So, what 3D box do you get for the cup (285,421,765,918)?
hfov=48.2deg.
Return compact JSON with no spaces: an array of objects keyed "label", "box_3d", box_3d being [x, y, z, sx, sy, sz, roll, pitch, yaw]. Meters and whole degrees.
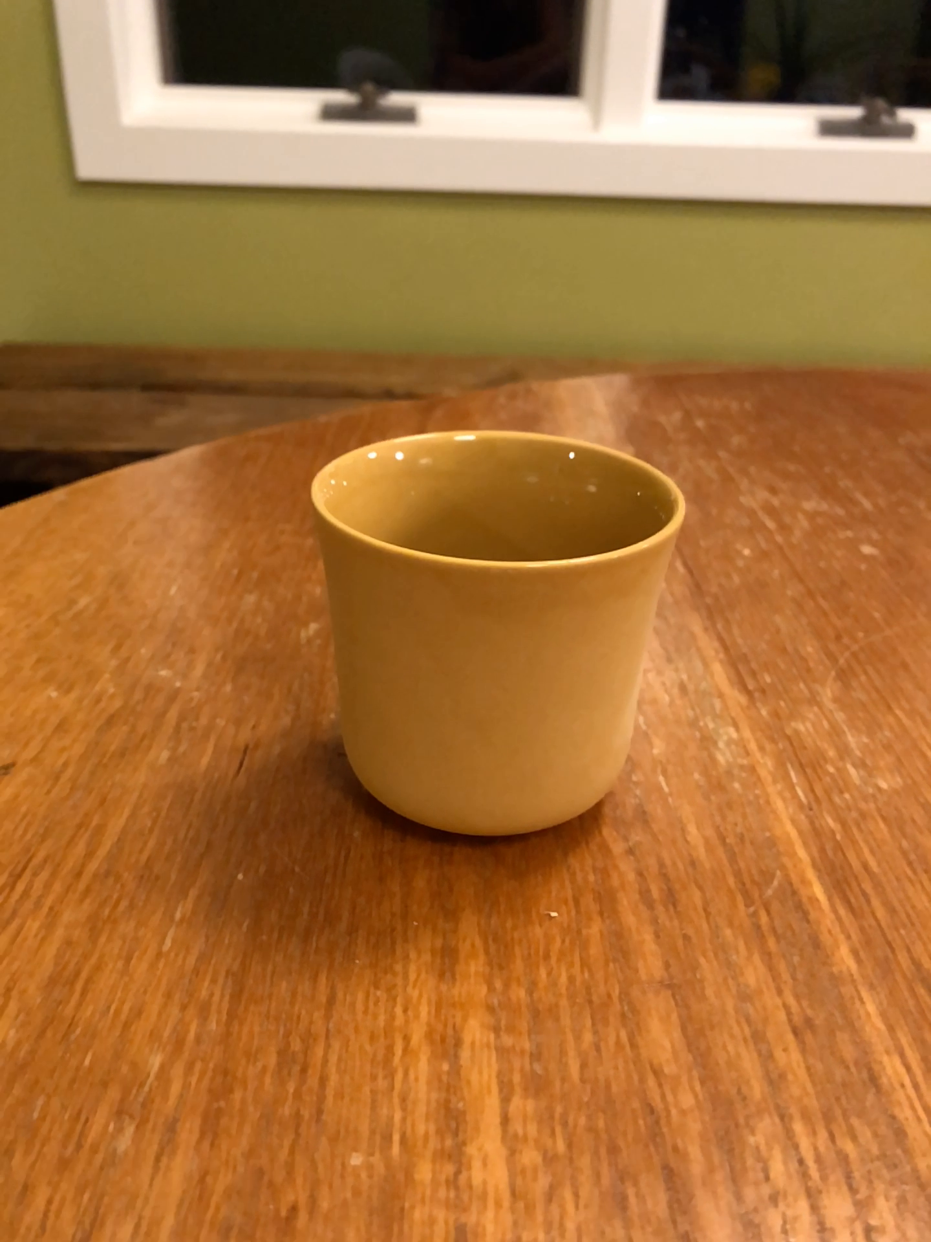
[{"label":"cup","box_3d":[0.007,0.005,0.231,0.077,0.073,0.074,1,28,-1]}]
